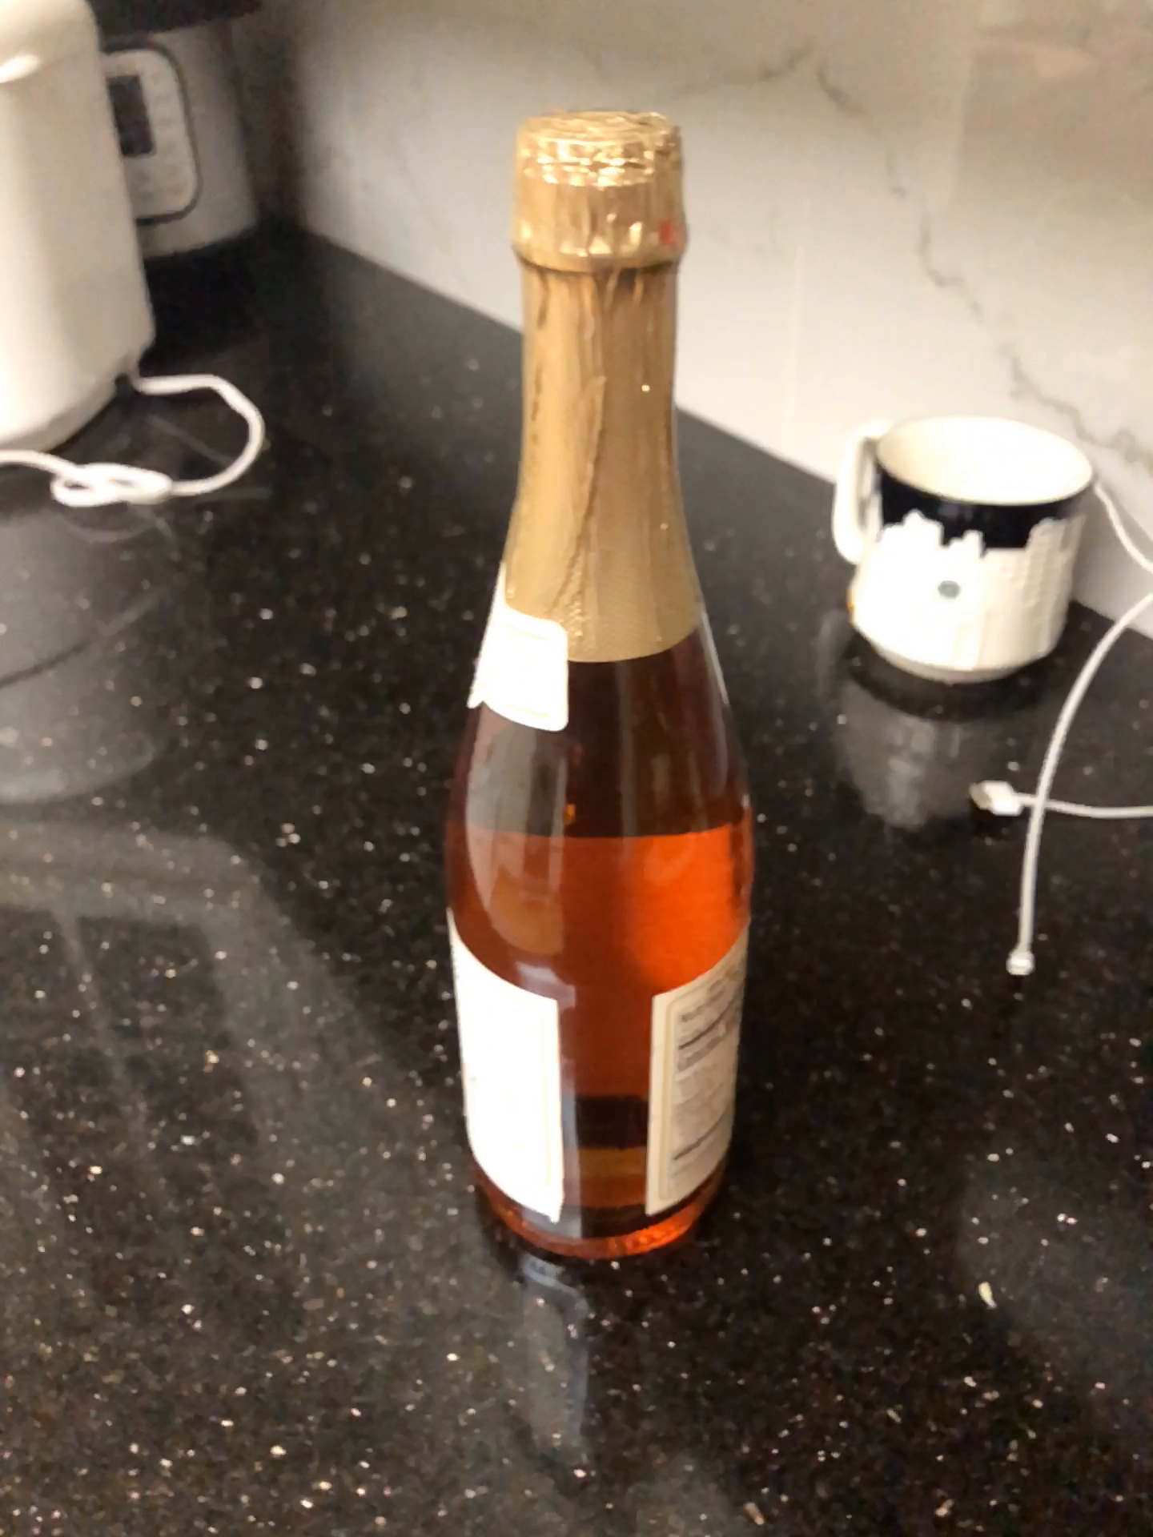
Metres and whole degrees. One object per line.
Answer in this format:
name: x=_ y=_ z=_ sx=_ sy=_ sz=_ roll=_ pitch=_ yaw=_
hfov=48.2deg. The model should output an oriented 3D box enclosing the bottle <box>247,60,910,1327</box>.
bottle: x=0.007 y=0.001 z=0.321 sx=0.090 sy=0.298 sz=0.090 roll=-1 pitch=37 yaw=1
